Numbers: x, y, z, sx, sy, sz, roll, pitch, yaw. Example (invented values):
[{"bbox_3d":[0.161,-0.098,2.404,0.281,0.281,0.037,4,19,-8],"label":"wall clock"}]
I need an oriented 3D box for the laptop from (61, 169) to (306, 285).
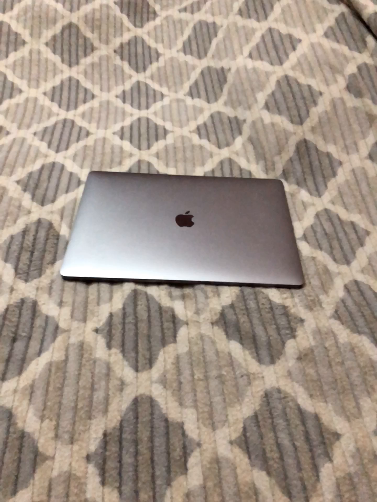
[{"bbox_3d":[-0.006,-0.051,0.690,0.358,0.007,0.247,3,47,-1],"label":"laptop"}]
